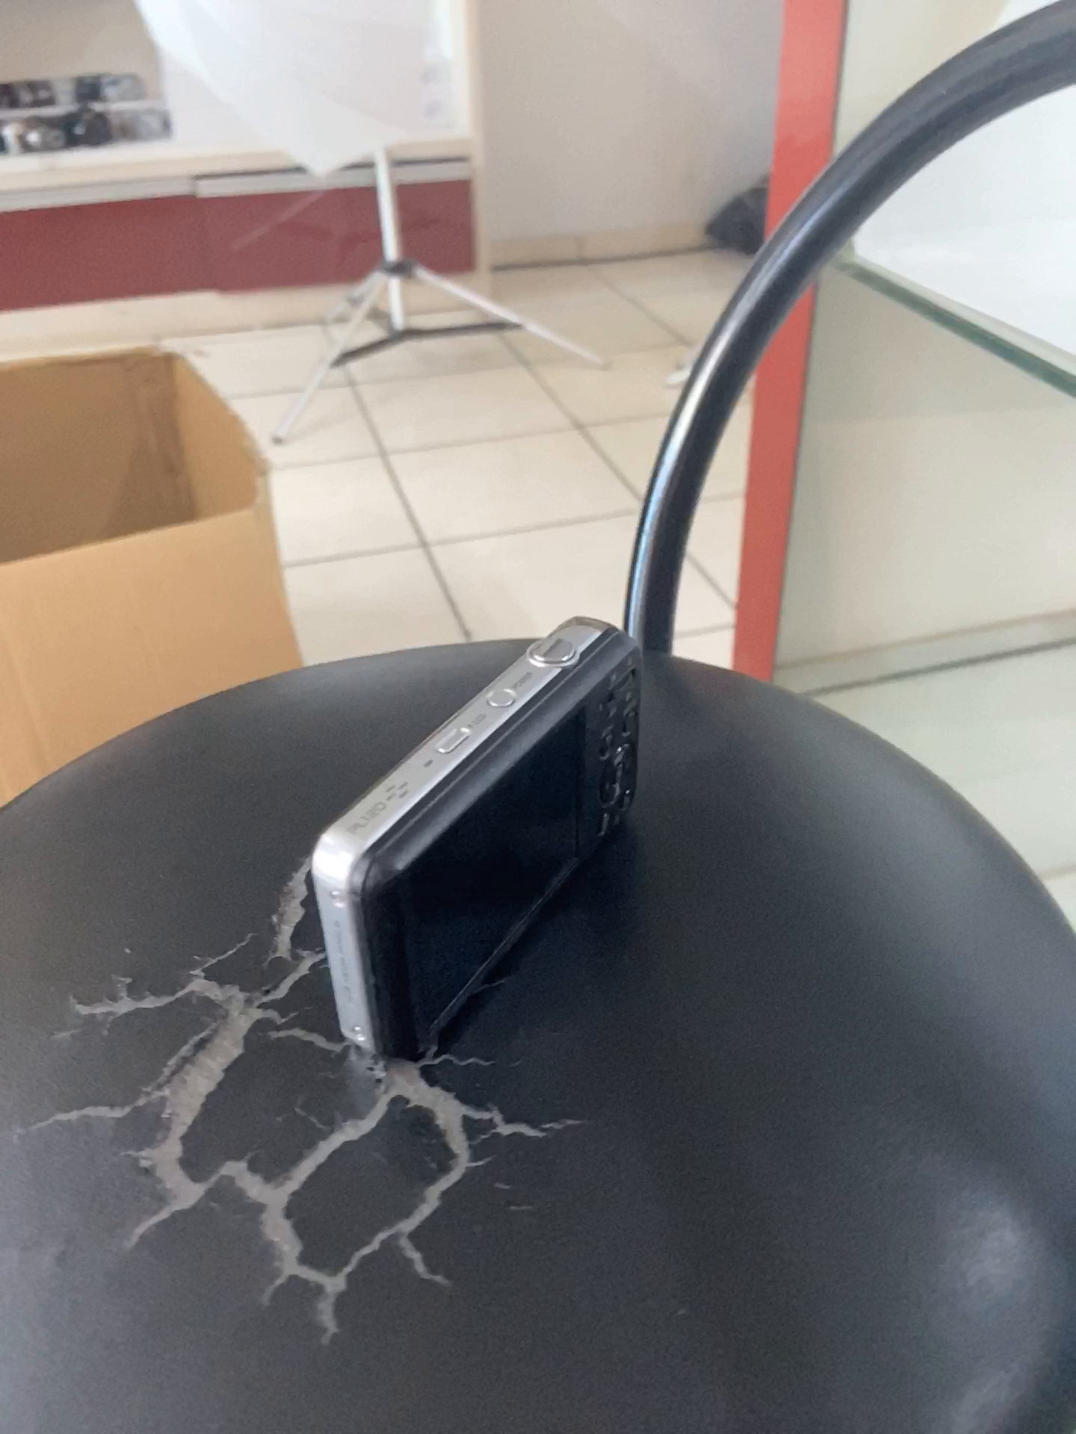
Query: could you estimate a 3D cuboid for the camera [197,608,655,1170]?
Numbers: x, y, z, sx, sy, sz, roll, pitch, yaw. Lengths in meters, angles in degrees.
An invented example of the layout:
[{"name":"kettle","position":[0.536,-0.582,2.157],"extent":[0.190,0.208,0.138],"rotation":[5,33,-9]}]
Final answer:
[{"name":"camera","position":[-0.015,0.029,0.228],"extent":[0.030,0.060,0.100],"rotation":[20,41,28]}]
